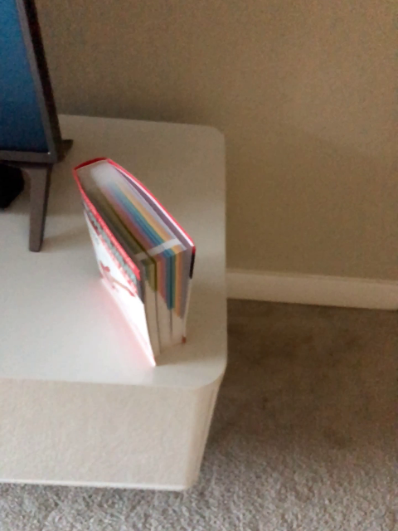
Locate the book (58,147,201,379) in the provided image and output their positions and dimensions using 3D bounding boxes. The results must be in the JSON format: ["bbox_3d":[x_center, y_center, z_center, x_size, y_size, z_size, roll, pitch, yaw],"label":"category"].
[{"bbox_3d":[-0.072,0.002,0.458,0.060,0.179,0.150,-25,57,-24],"label":"book"}]
